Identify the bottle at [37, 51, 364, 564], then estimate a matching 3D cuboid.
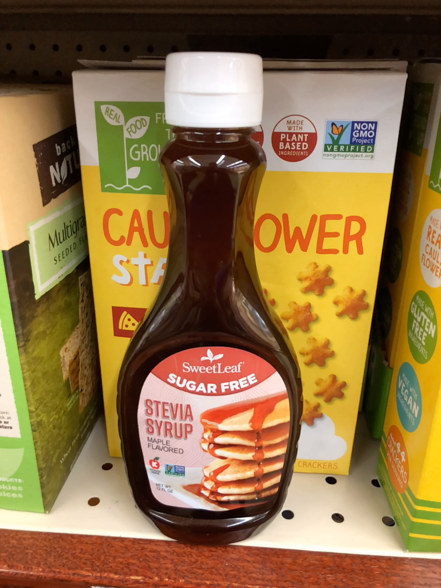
[{"bbox_3d":[-0.007,0.017,0.206,0.092,0.211,0.051,0,25,-1],"label":"bottle"}]
